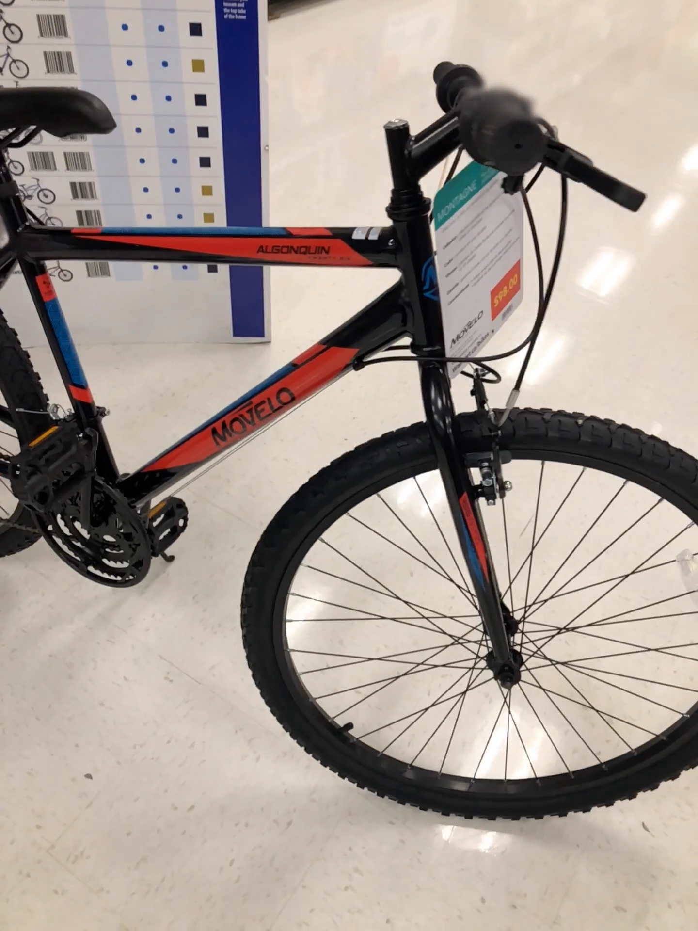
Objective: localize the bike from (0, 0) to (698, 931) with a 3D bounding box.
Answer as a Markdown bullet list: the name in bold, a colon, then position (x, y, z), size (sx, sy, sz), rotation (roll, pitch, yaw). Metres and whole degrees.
- **bike**: position (-0.095, -0.055, 0.896), size (1.286, 0.942, 0.562), rotation (19, 46, 15)
